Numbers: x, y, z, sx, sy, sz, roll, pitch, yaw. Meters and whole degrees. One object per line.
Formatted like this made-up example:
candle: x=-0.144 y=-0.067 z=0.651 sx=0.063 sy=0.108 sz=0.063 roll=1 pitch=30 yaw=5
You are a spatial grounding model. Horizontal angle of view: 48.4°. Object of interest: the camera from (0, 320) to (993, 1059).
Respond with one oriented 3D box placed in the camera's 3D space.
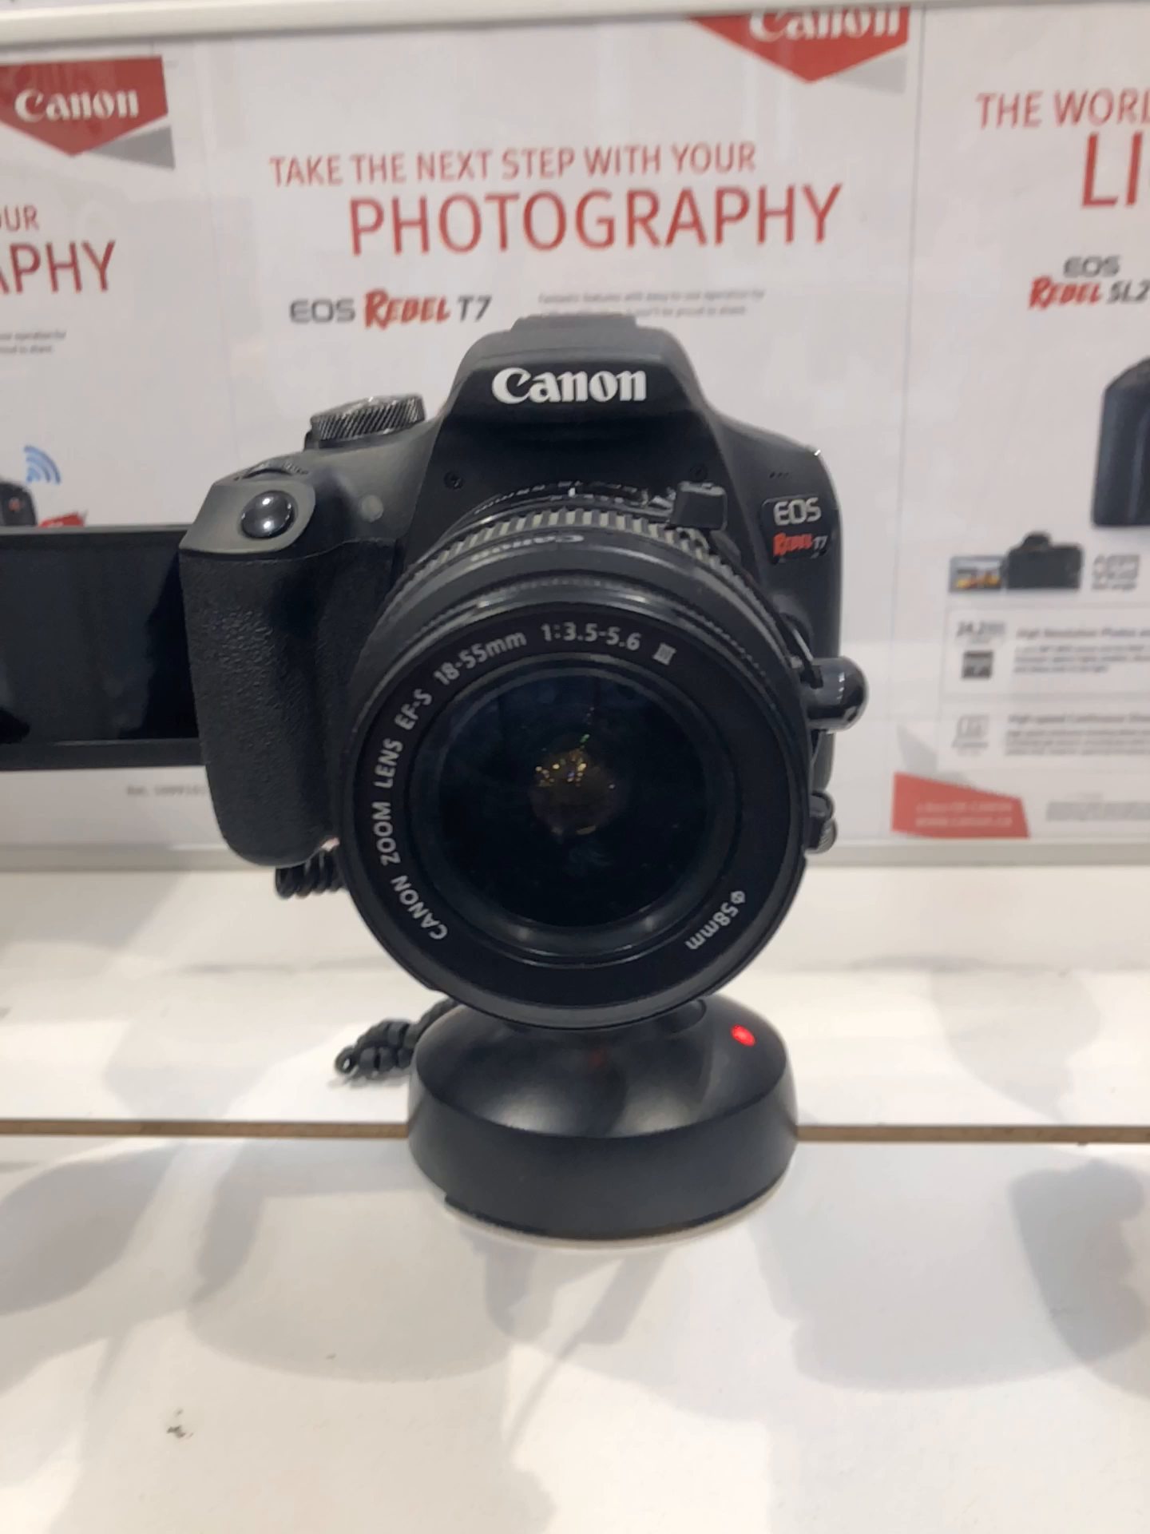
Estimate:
camera: x=-0.011 y=-0.025 z=0.231 sx=0.130 sy=0.099 sz=0.121 roll=-1 pitch=20 yaw=2
